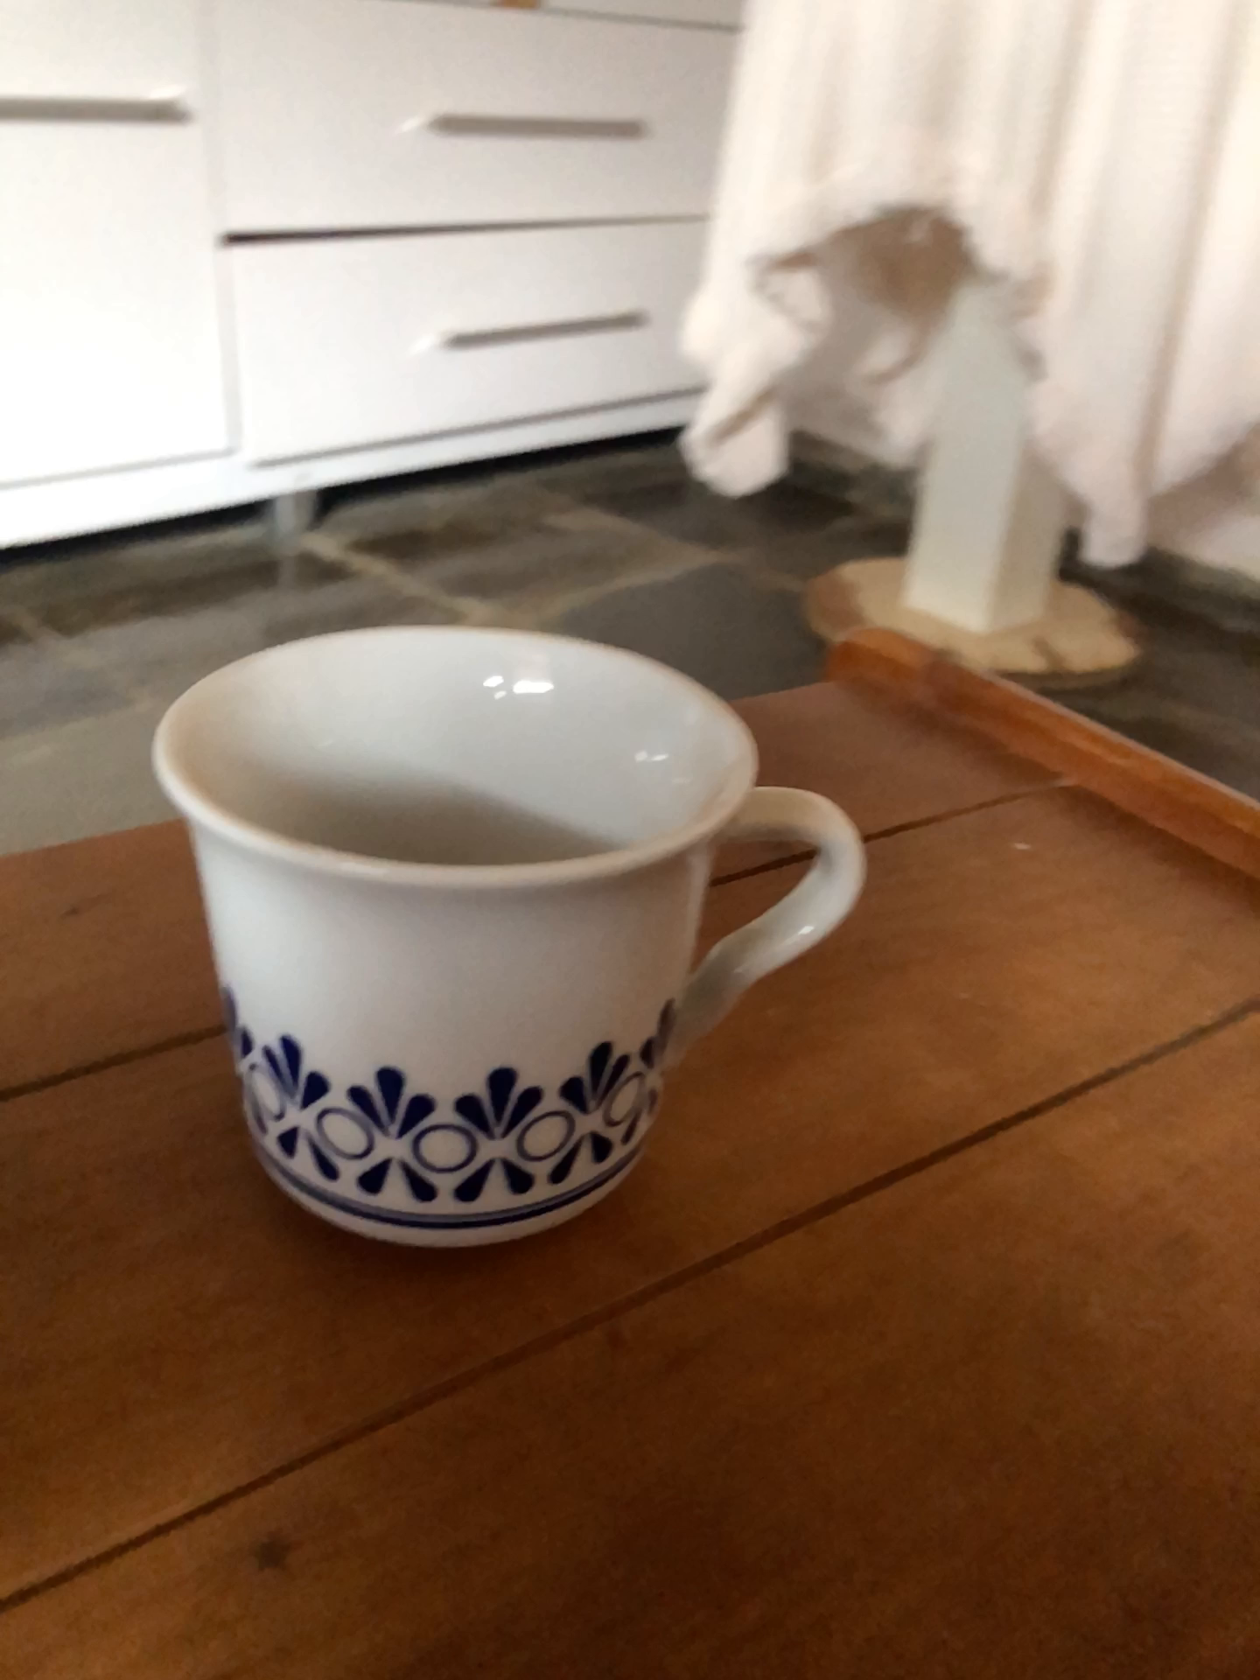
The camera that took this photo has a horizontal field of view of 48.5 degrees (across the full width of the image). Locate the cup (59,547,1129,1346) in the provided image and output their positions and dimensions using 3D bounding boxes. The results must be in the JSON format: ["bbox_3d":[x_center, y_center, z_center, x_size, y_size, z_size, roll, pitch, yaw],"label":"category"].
[{"bbox_3d":[-0.012,0.007,0.229,0.130,0.079,0.101,-2,29,-13],"label":"cup"}]
